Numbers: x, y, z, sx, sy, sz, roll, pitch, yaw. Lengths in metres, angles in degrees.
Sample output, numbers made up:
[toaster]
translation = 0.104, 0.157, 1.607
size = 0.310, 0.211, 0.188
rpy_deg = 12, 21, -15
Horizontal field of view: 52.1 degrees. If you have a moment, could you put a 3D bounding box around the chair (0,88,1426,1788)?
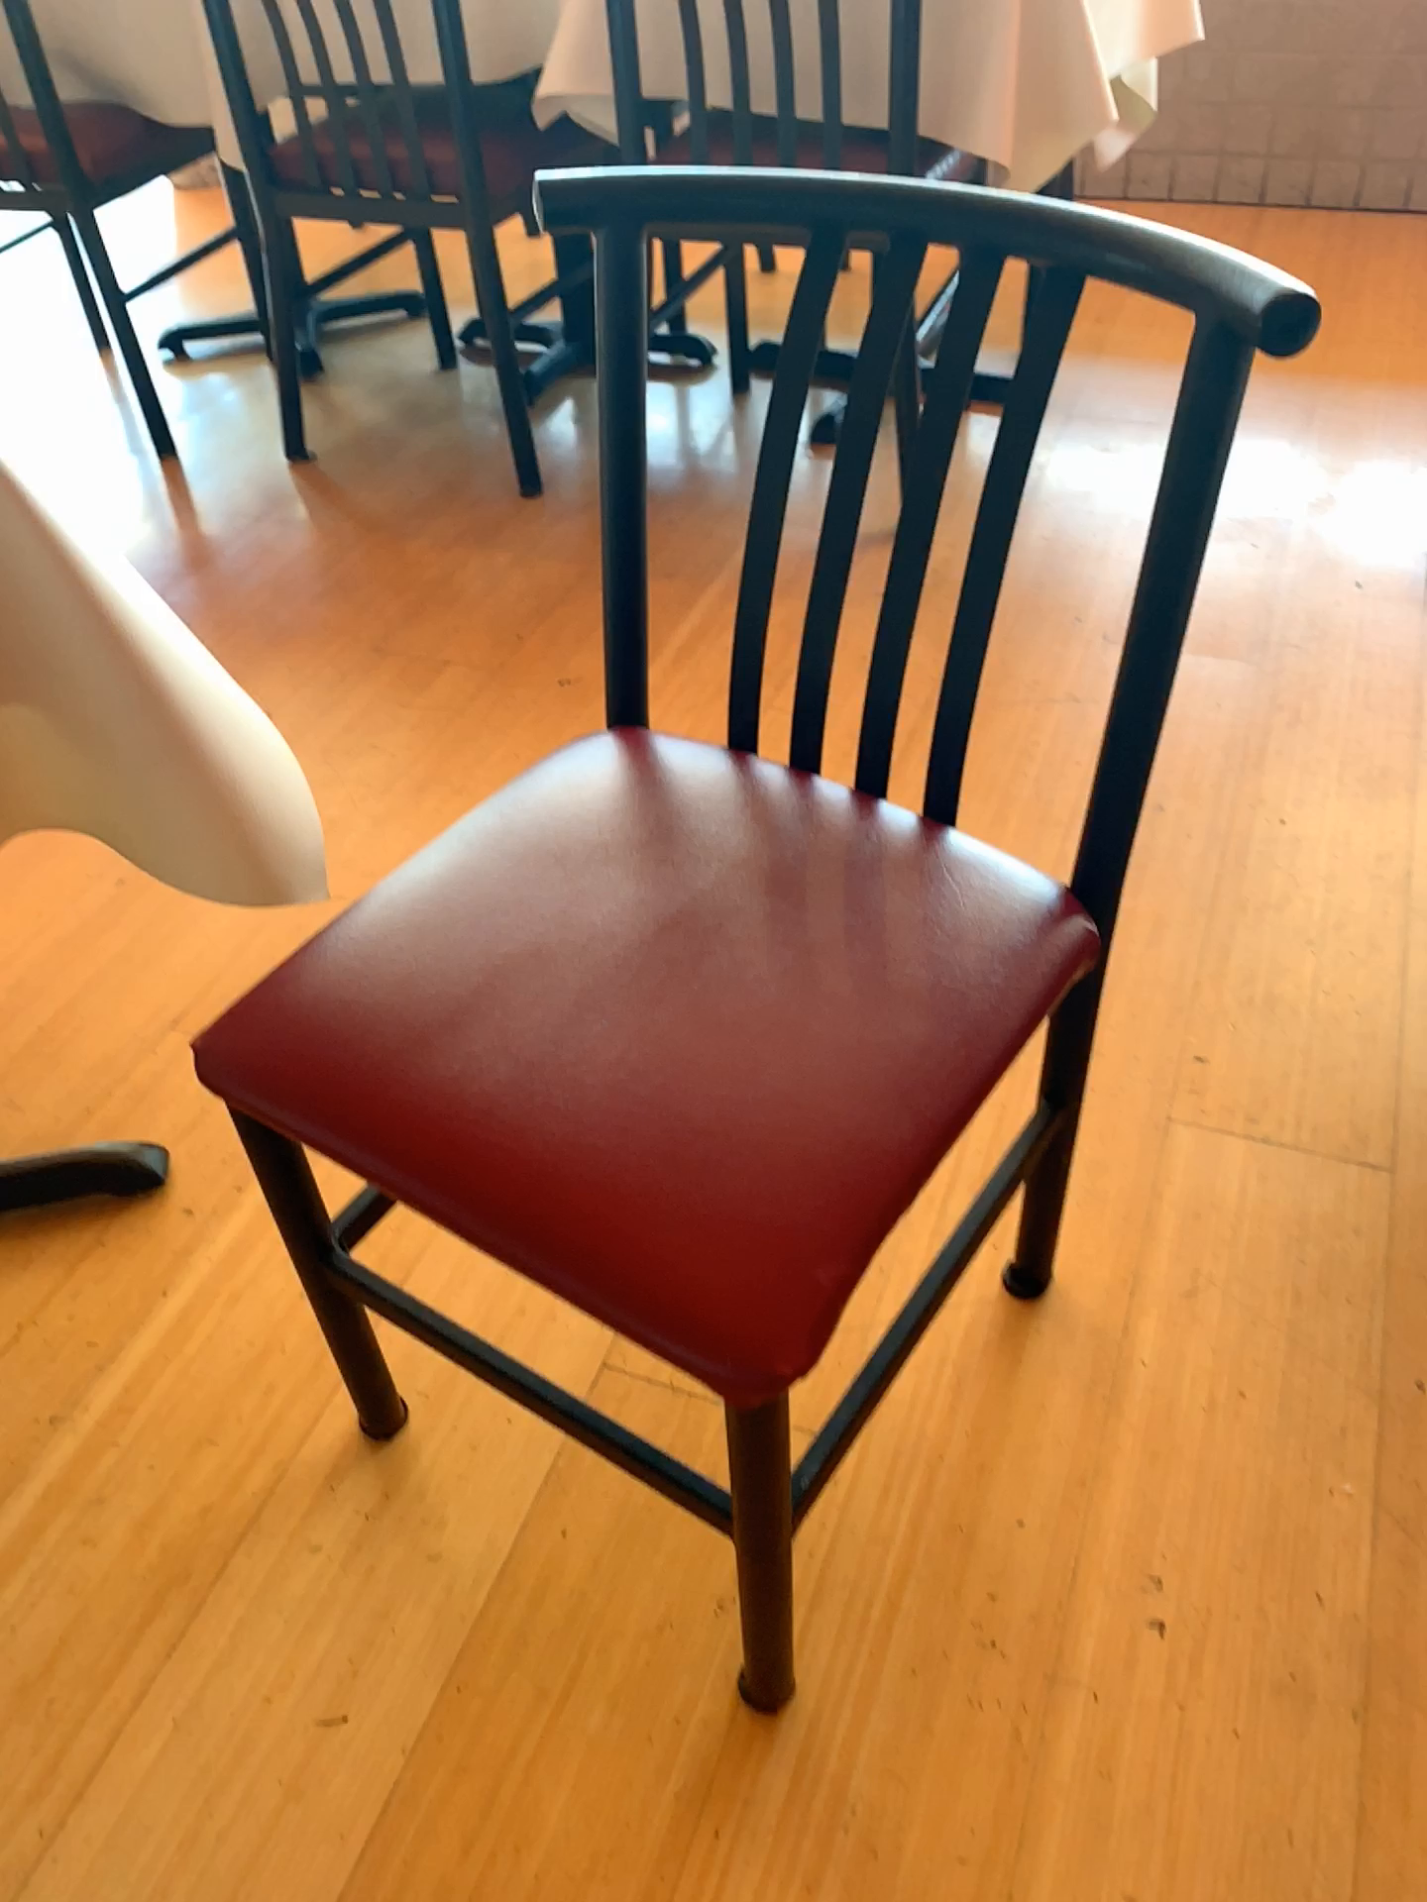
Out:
[chair]
translation = 0.000, -0.018, 0.889
size = 0.481, 0.726, 0.572
rpy_deg = 24, 49, 24
